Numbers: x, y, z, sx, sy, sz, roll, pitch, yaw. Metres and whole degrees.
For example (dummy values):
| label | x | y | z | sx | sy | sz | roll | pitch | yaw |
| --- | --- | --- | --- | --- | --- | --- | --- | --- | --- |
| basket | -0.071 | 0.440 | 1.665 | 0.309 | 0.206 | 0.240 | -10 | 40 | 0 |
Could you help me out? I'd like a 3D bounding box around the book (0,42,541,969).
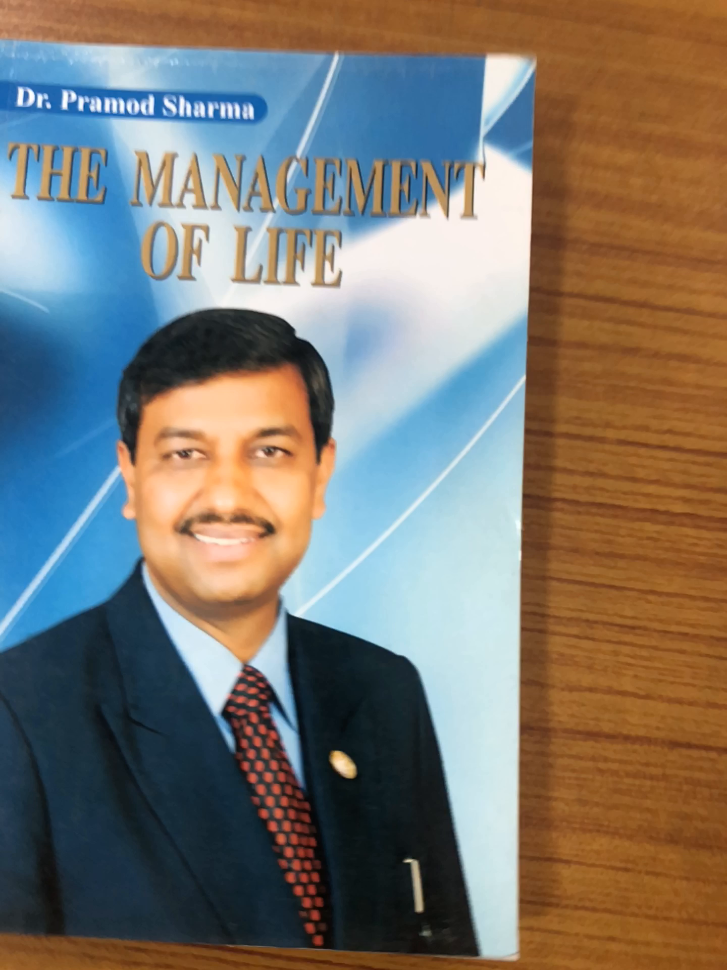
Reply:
| label | x | y | z | sx | sy | sz | roll | pitch | yaw |
| --- | --- | --- | --- | --- | --- | --- | --- | --- | --- |
| book | -0.037 | 0.001 | 0.195 | 0.150 | 0.020 | 0.210 | 2 | 83 | 2 |
